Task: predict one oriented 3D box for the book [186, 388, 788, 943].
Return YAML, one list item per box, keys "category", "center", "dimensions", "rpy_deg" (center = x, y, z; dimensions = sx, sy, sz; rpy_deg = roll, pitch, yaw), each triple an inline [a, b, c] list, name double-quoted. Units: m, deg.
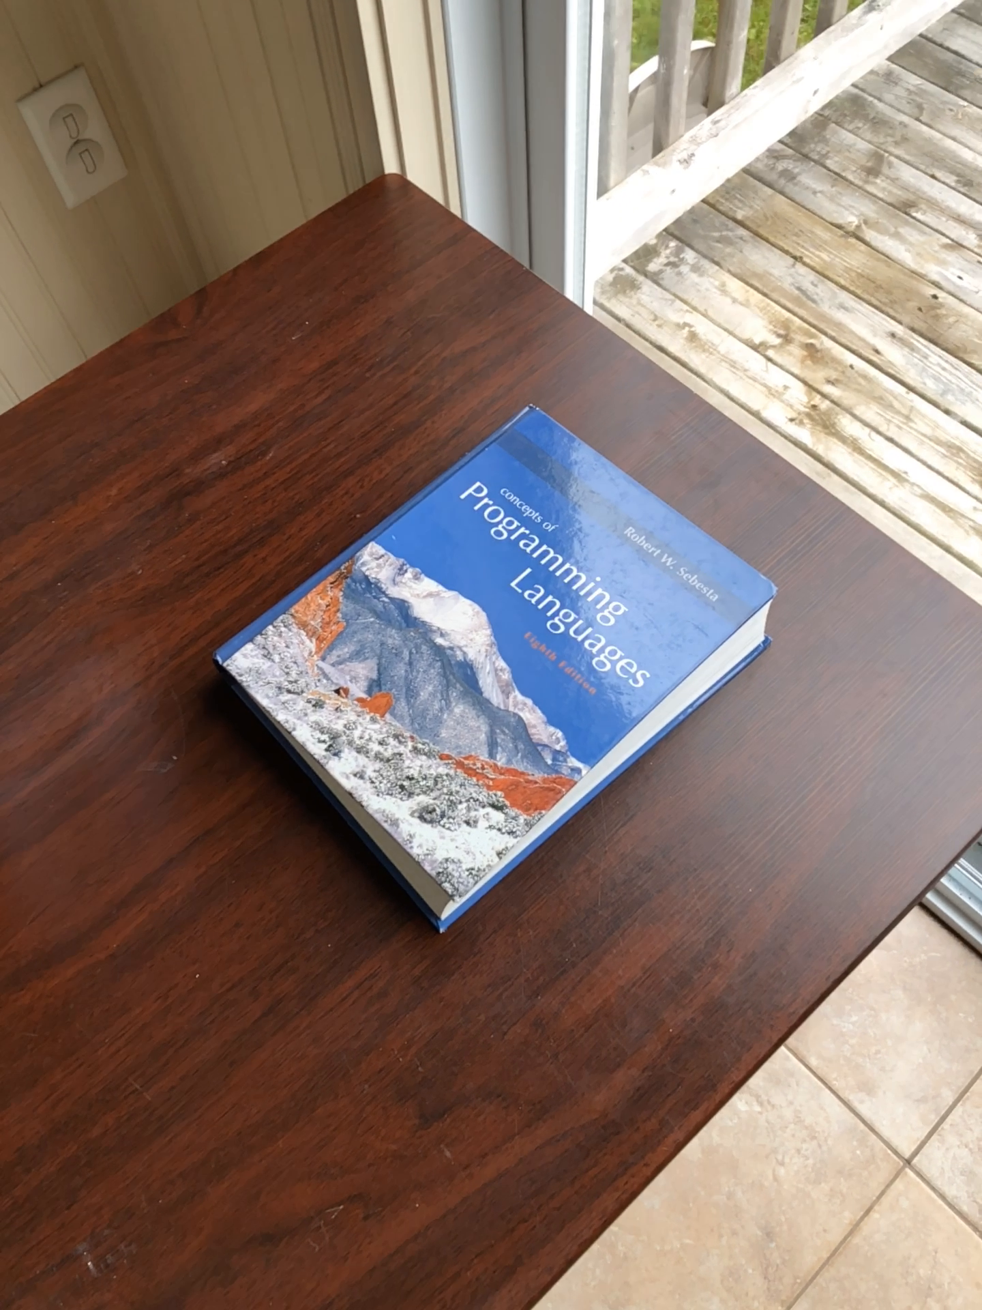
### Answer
- category: "book"
  center: [-0.002, -0.007, 0.572]
  dimensions: [0.236, 0.048, 0.195]
  rpy_deg: [-39, 66, -16]
